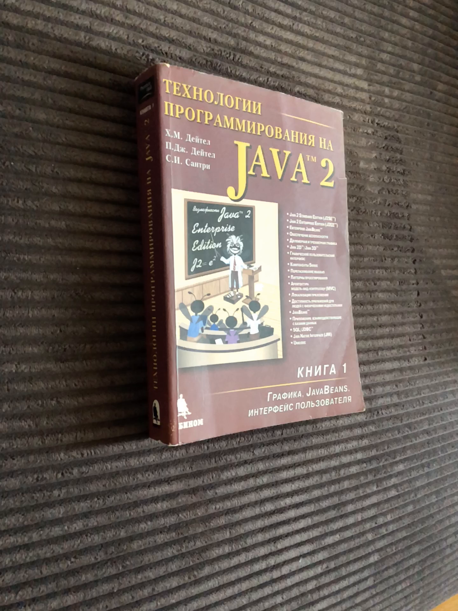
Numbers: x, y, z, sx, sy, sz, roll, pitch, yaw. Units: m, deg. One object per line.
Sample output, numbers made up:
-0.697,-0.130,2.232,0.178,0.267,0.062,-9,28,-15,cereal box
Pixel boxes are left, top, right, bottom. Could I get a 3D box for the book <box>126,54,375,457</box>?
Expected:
0.021,-0.033,0.365,0.166,0.050,0.240,-2,86,-35,book
